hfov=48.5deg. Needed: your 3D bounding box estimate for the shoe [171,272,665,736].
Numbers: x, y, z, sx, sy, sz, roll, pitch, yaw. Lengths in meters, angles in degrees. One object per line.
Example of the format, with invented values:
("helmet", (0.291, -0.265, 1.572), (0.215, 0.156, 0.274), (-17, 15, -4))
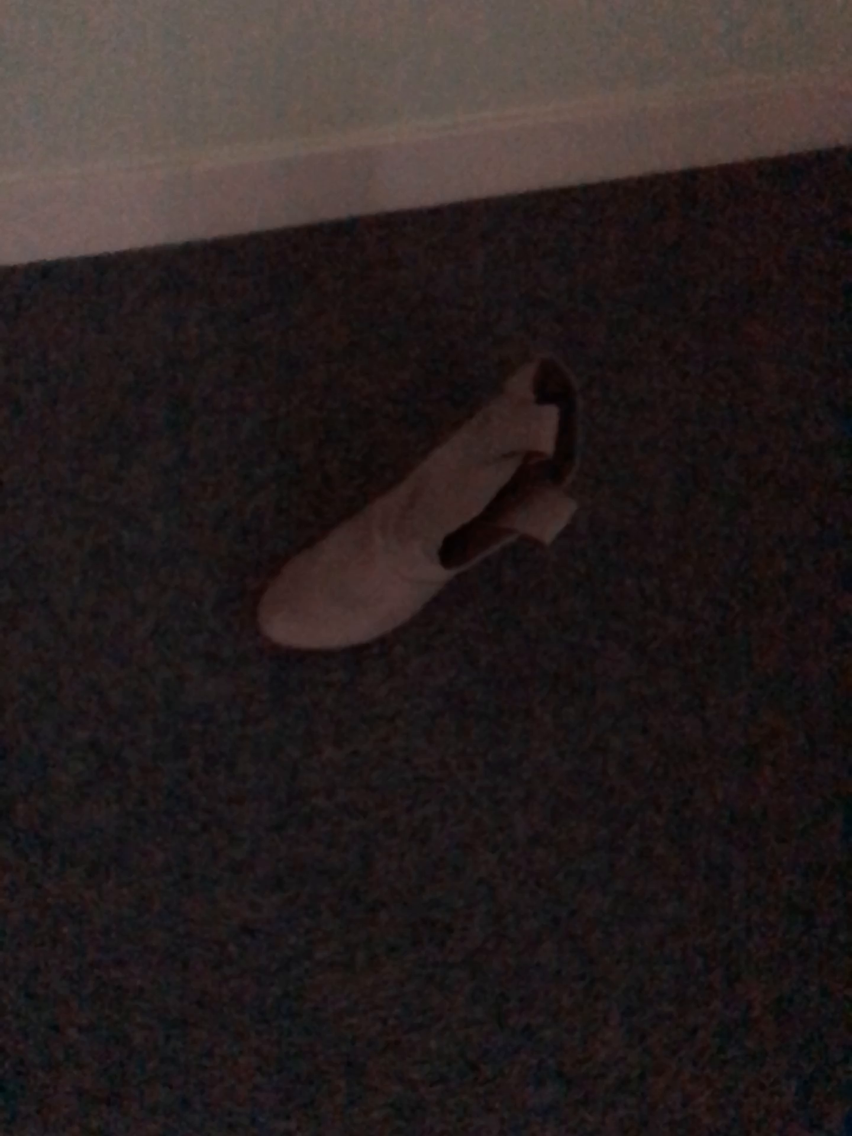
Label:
("shoe", (-0.007, -0.024, 0.621), (0.240, 0.220, 0.130), (-38, 82, -11))
